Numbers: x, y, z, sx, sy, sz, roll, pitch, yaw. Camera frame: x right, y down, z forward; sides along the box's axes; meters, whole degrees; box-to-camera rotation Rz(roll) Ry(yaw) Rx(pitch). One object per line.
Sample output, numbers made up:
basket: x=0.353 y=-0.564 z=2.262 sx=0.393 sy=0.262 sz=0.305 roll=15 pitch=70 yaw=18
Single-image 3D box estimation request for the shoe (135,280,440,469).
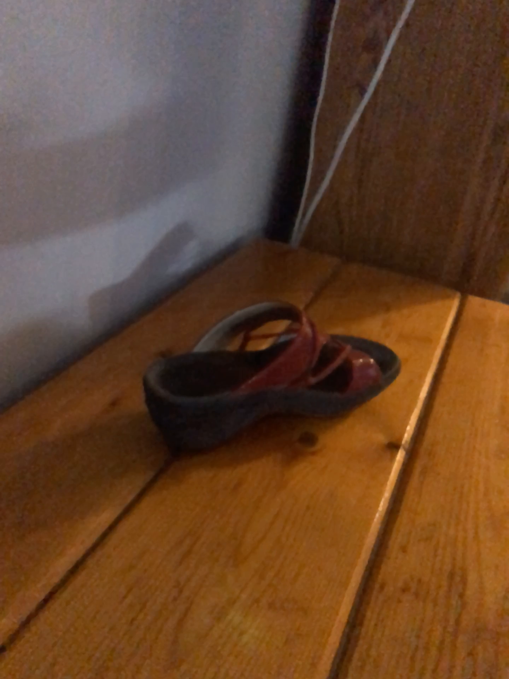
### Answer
shoe: x=0.033 y=0.017 z=0.502 sx=0.250 sy=0.070 sz=0.100 roll=-13 pitch=37 yaw=-31
